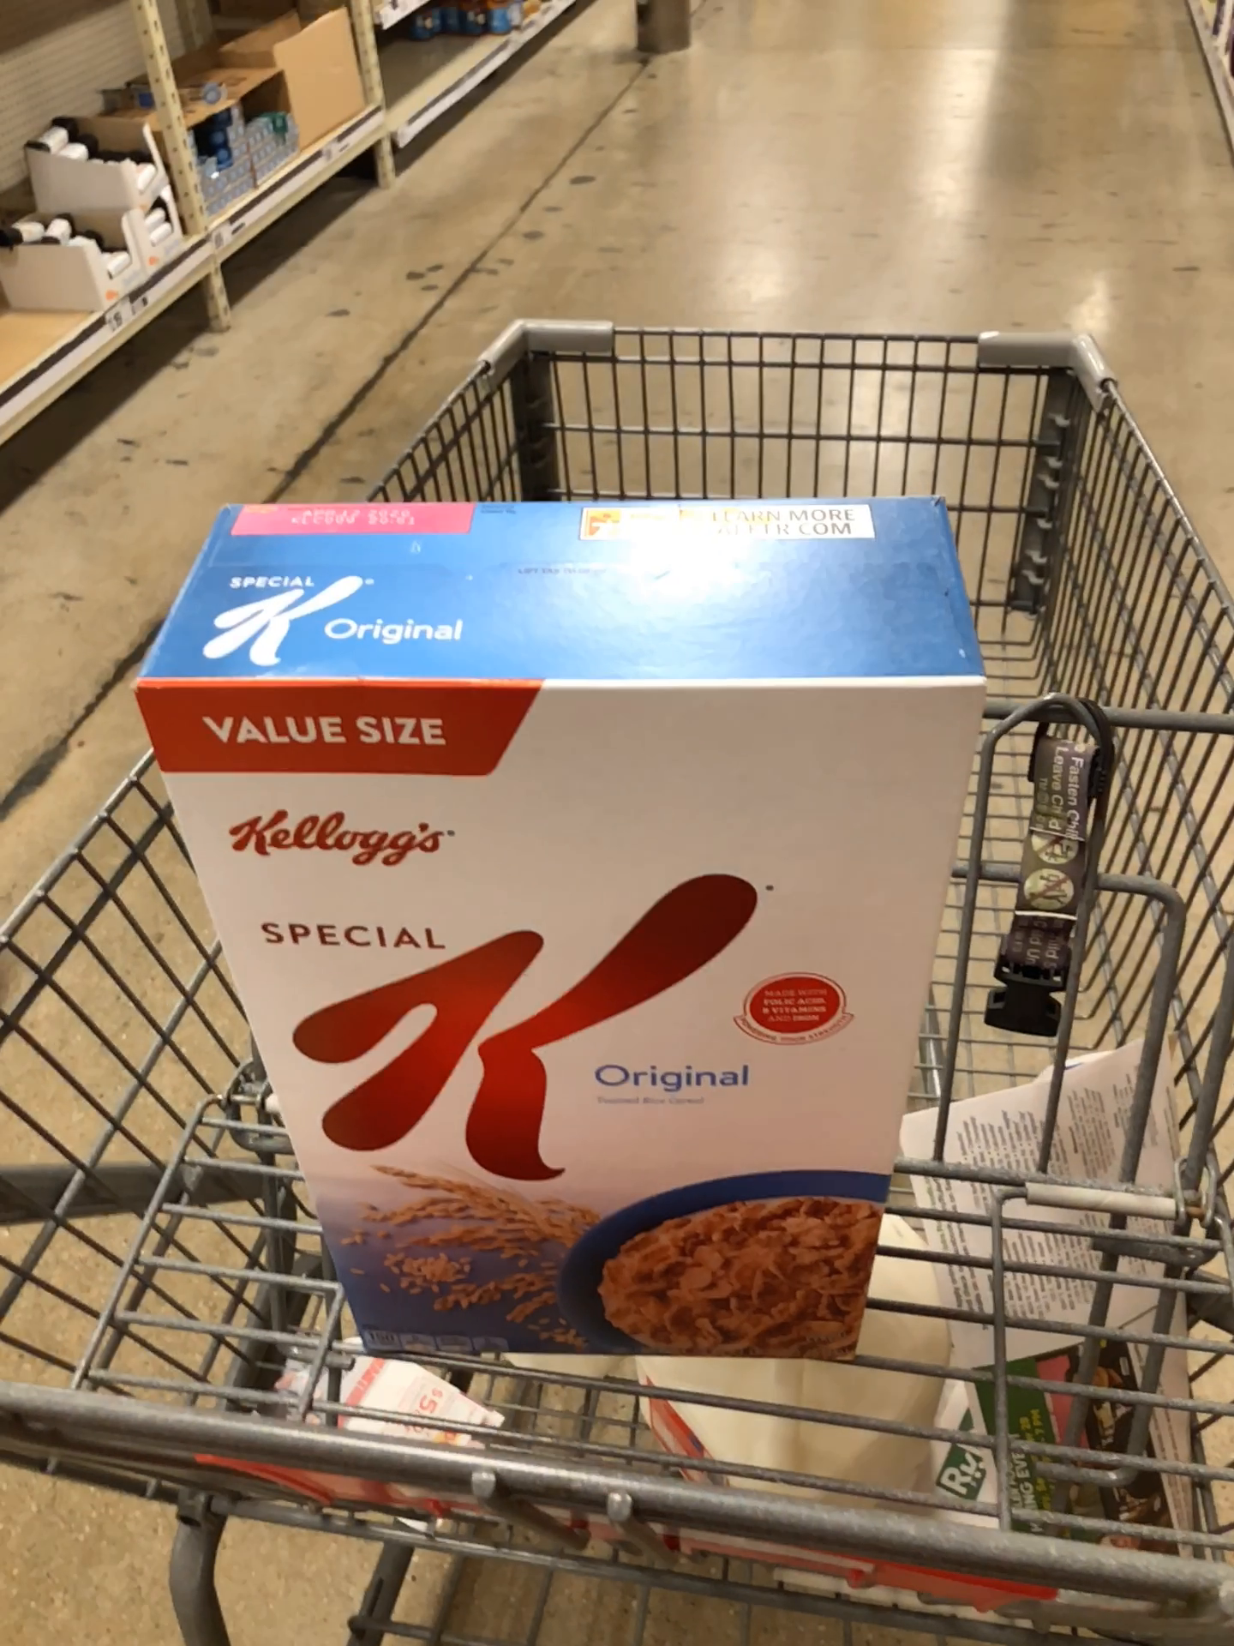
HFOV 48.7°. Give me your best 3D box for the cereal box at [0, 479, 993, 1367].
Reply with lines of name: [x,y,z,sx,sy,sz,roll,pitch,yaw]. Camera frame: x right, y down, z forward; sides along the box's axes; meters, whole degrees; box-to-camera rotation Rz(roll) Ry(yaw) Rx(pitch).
cereal box: [-0.020,0.056,0.448,0.230,0.329,0.080,2,43,7]
